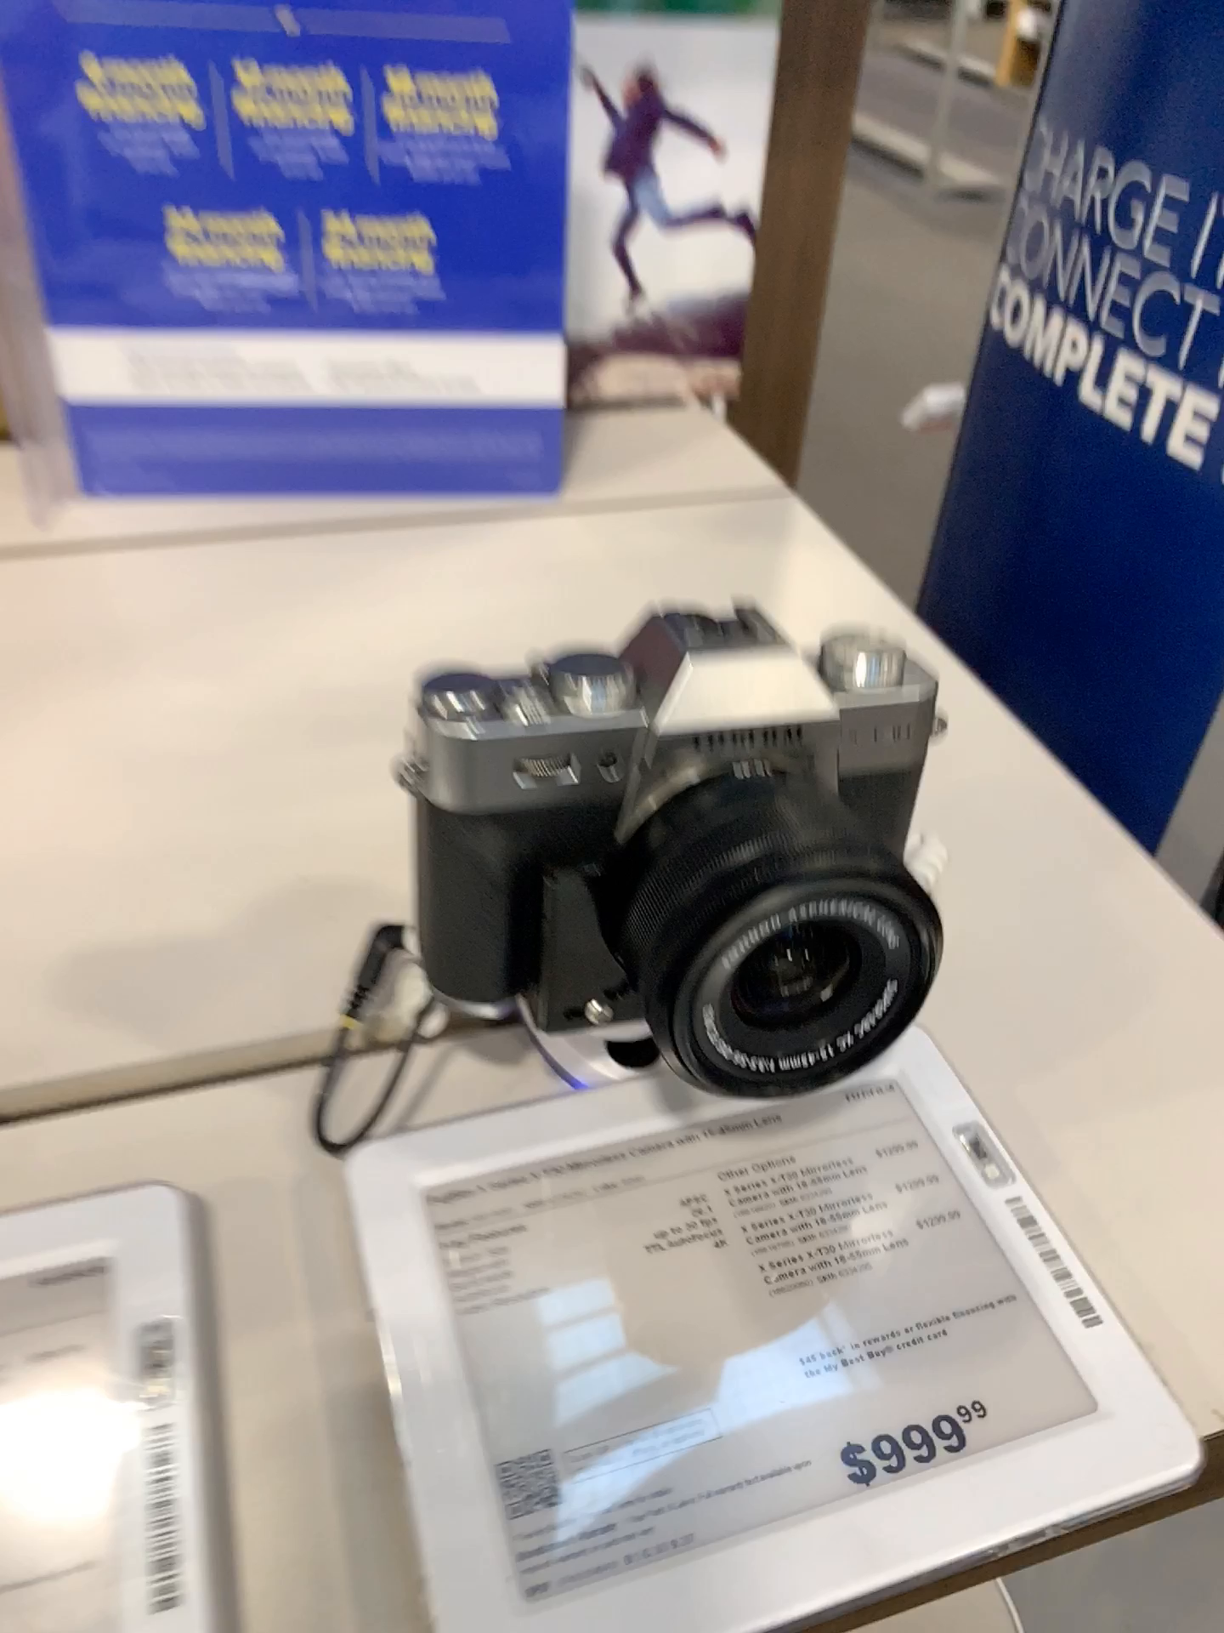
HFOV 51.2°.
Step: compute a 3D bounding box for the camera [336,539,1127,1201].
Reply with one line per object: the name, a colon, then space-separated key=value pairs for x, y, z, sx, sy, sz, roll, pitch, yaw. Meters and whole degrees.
camera: x=0.015 y=0.004 z=0.277 sx=0.130 sy=0.080 sz=0.101 roll=-8 pitch=40 yaw=-15
